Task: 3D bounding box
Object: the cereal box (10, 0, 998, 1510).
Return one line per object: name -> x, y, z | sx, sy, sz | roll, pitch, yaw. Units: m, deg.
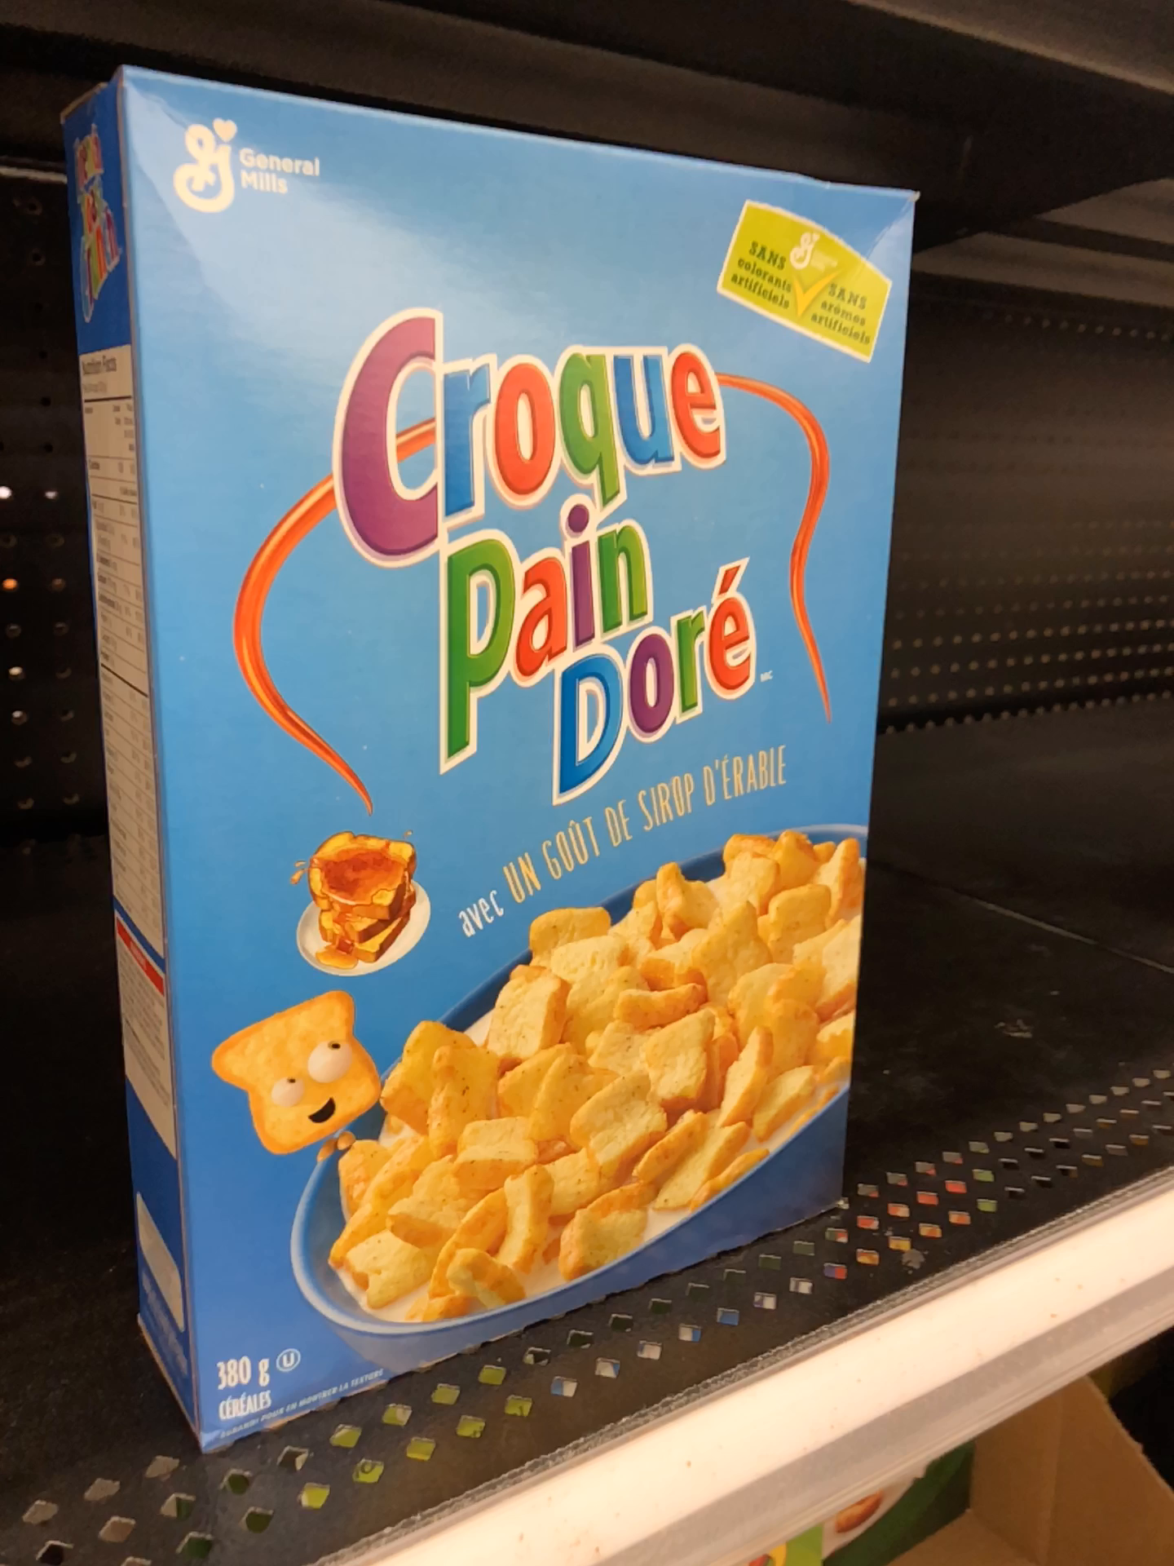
cereal box -> -0.006, -0.006, 0.302 | 0.210, 0.269, 0.050 | -8, 16, -33
